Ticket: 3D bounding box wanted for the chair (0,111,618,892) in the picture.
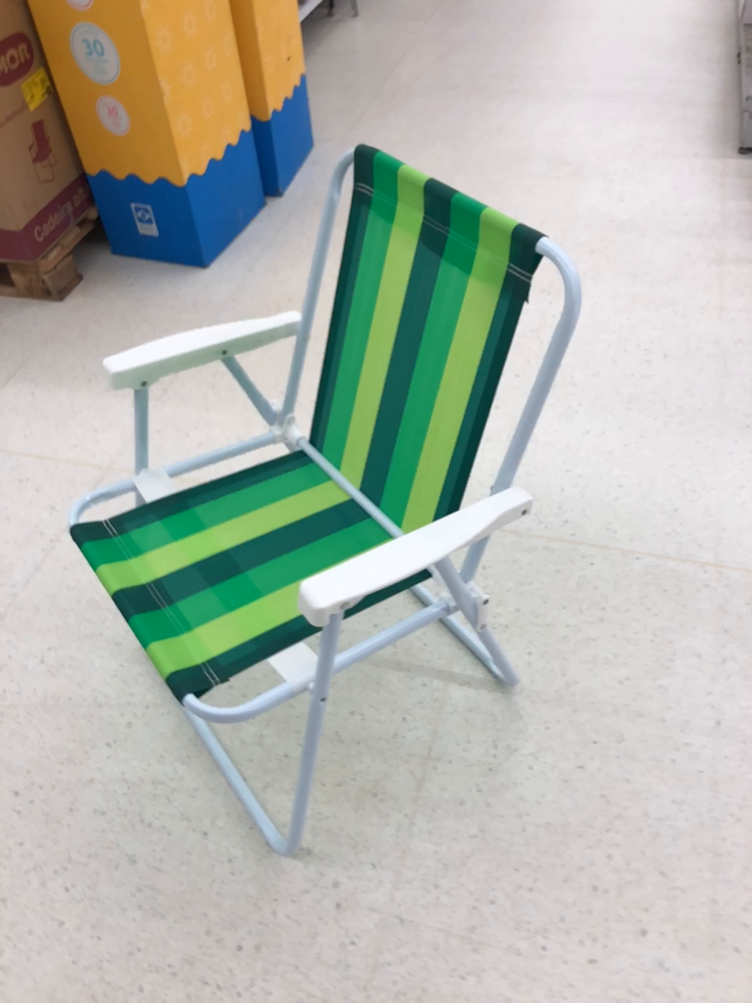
[{"bbox_3d":[-0.106,0.001,1.084,0.521,0.716,0.512,-29,49,-21],"label":"chair"}]
